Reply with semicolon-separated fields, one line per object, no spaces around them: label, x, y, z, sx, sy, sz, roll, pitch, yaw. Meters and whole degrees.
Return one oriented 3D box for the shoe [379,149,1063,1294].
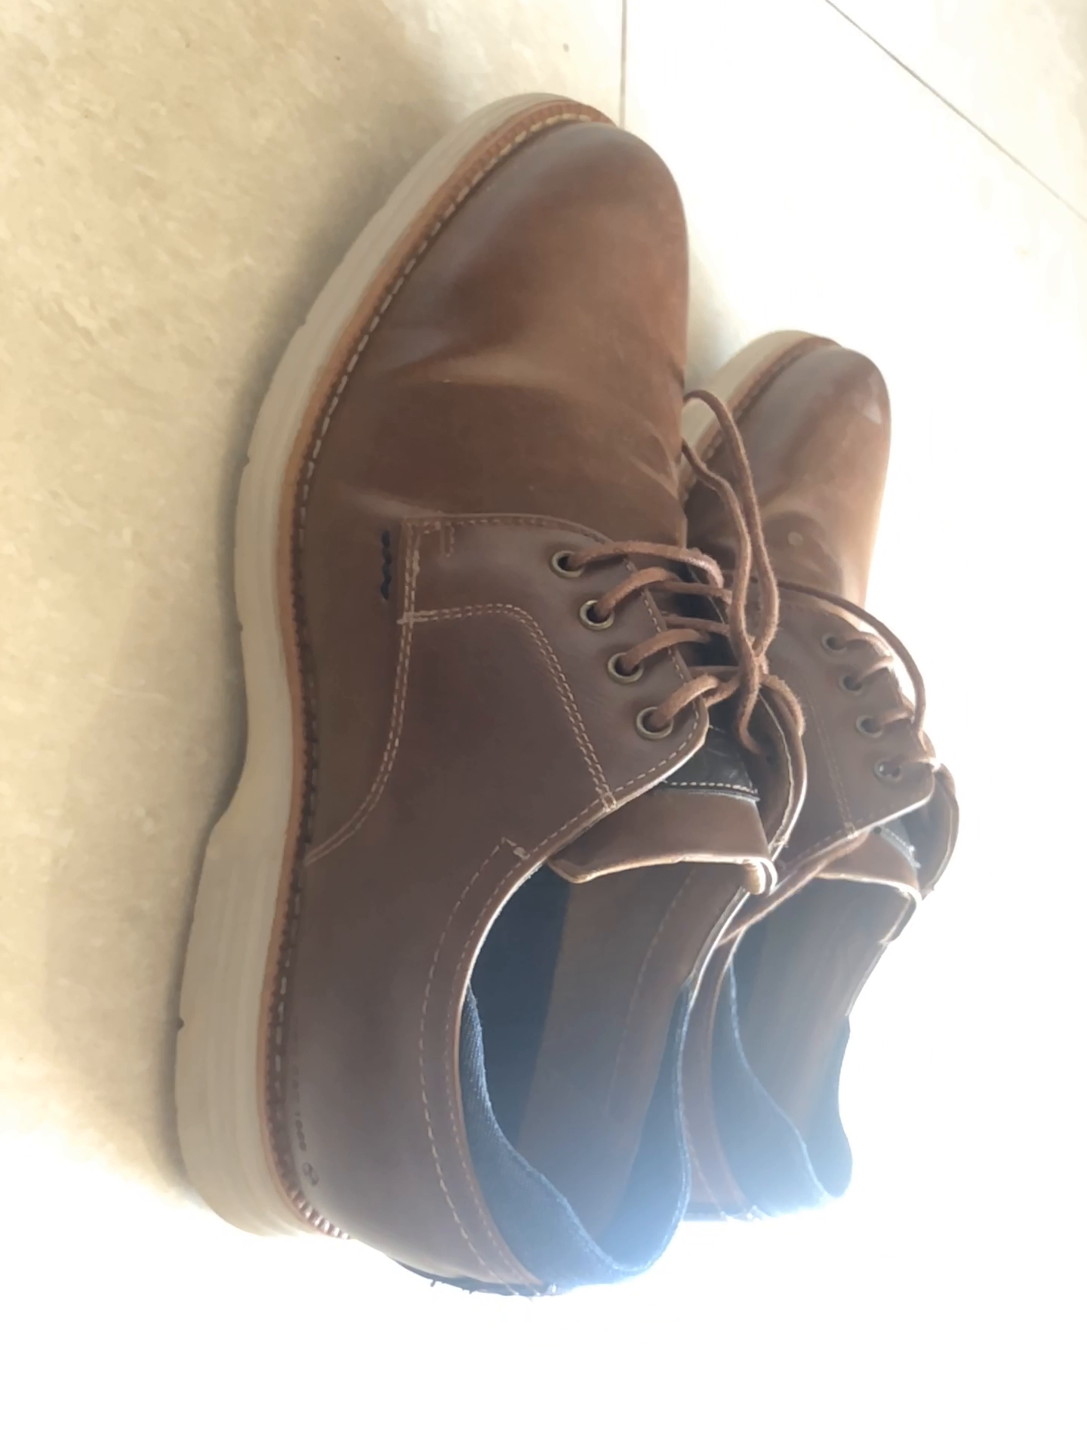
shoe;0.067;-0.006;0.378;0.100;0.099;0.310;33;68;-43

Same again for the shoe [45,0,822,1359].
shoe;-0.020;-0.030;0.307;0.100;0.099;0.310;18;78;-46
